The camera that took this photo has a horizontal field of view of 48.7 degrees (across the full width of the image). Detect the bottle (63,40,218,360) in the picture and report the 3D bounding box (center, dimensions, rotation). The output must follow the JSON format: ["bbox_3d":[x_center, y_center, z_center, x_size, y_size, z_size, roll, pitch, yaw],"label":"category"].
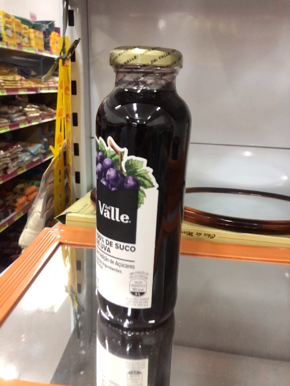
[{"bbox_3d":[-0.006,0.003,0.220,0.070,0.189,0.060,15,22,32],"label":"bottle"}]
